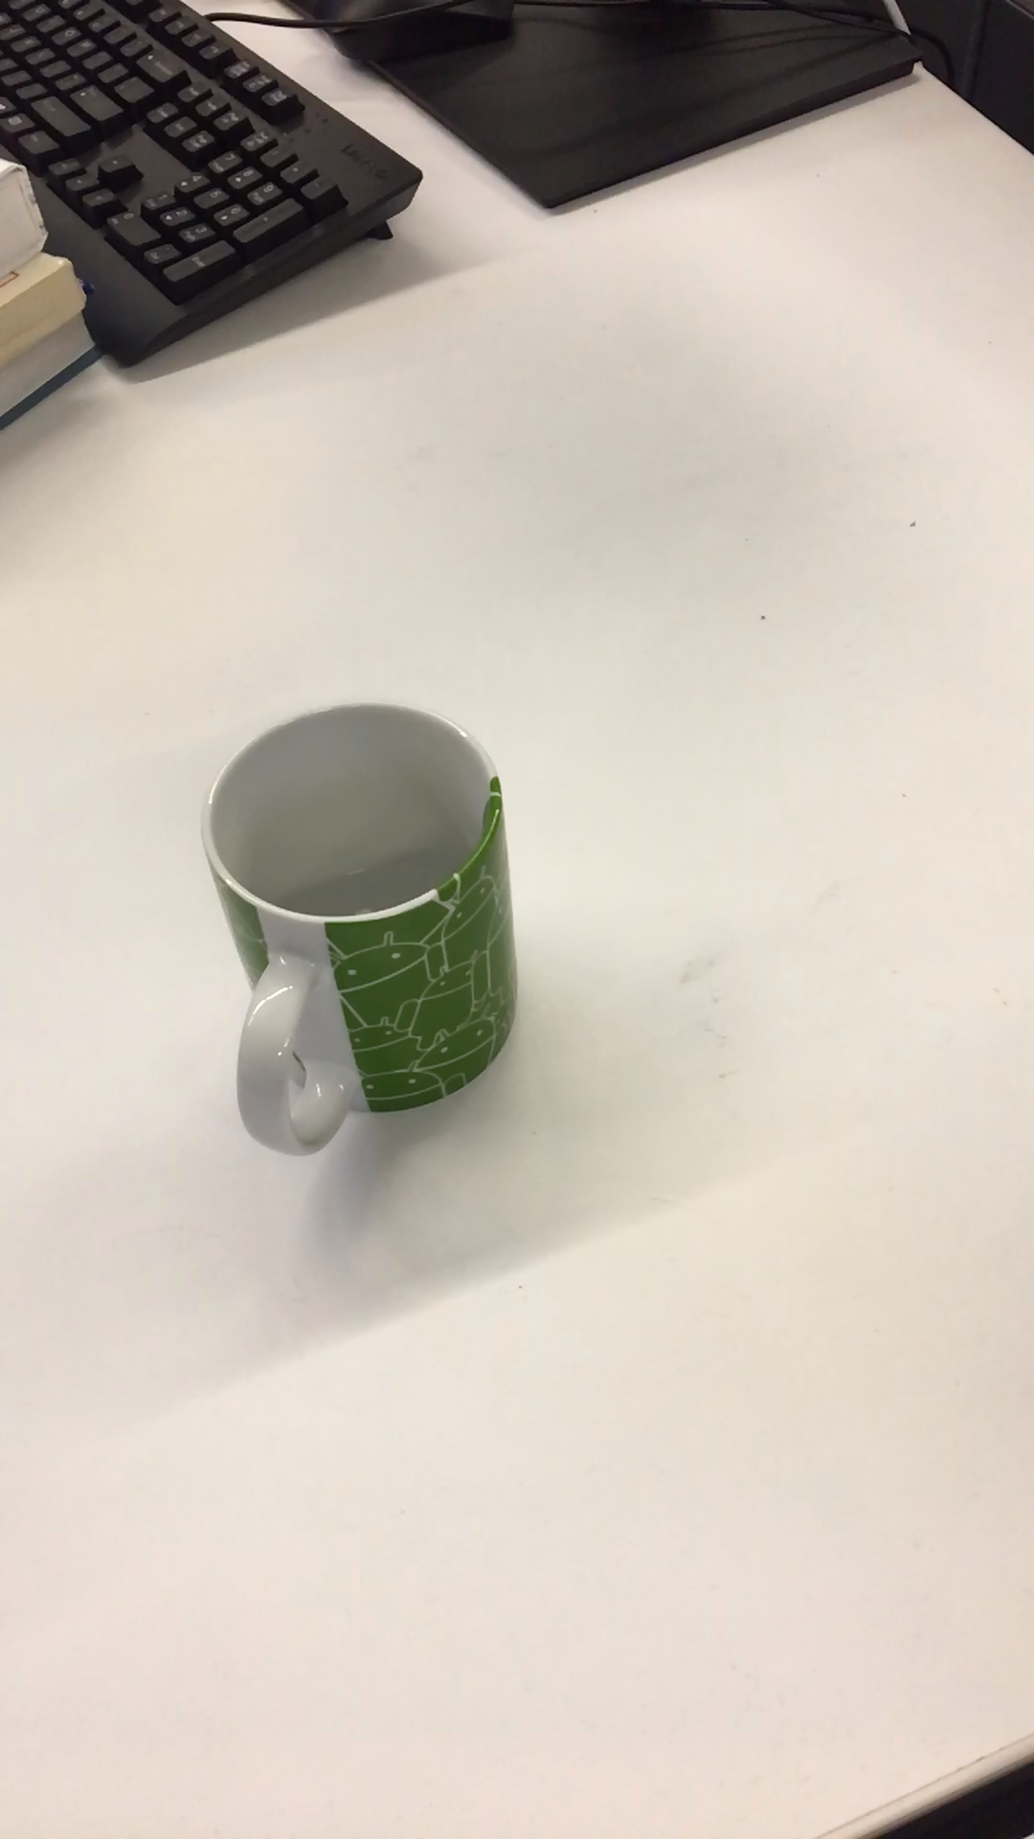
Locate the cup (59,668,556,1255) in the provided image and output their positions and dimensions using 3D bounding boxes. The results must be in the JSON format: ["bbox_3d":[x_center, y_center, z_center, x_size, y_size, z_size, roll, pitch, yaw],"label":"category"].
[{"bbox_3d":[-0.048,0.010,0.429,0.090,0.090,0.120,10,54,11],"label":"cup"}]
